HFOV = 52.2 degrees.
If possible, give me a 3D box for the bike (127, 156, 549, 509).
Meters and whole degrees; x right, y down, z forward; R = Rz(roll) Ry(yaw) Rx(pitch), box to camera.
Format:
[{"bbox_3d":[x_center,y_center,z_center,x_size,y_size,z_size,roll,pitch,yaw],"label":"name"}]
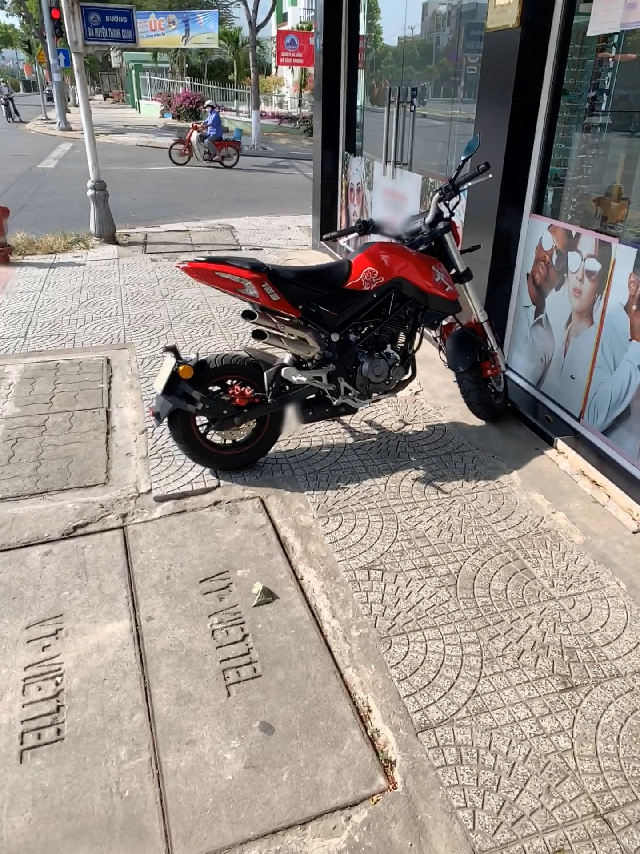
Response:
[{"bbox_3d":[0.165,-0.664,3.315,2.123,1.216,0.835,-17,31,-32],"label":"bike"}]
